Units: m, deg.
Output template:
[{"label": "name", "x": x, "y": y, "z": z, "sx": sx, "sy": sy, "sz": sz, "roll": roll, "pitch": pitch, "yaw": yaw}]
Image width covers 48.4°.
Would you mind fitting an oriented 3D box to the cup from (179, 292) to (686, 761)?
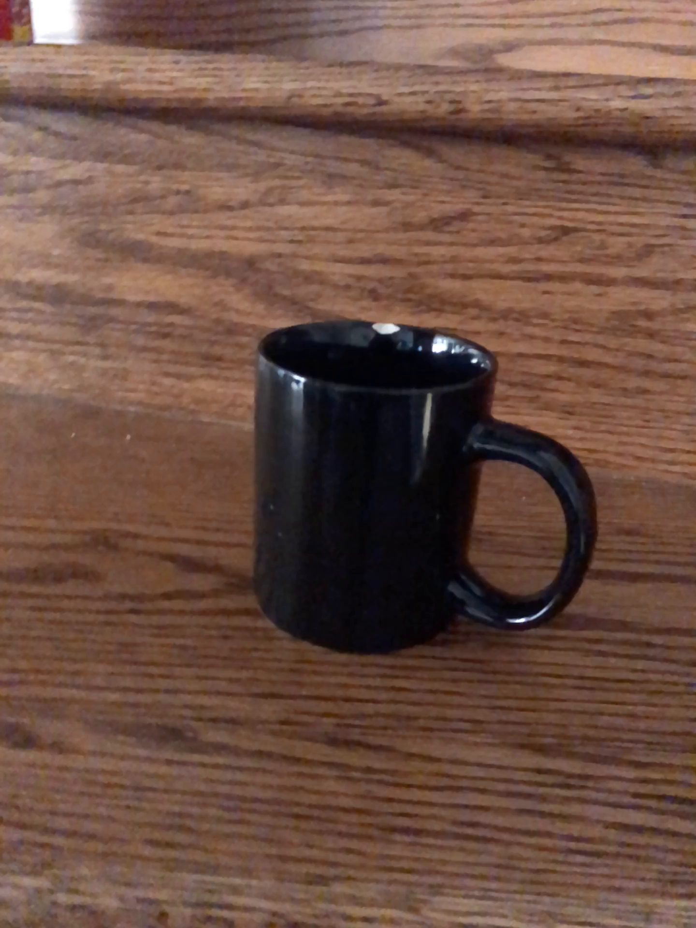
[{"label": "cup", "x": 0.026, "y": 0.008, "z": 0.266, "sx": 0.136, "sy": 0.095, "sz": 0.092, "roll": 17, "pitch": 28, "yaw": 25}]
